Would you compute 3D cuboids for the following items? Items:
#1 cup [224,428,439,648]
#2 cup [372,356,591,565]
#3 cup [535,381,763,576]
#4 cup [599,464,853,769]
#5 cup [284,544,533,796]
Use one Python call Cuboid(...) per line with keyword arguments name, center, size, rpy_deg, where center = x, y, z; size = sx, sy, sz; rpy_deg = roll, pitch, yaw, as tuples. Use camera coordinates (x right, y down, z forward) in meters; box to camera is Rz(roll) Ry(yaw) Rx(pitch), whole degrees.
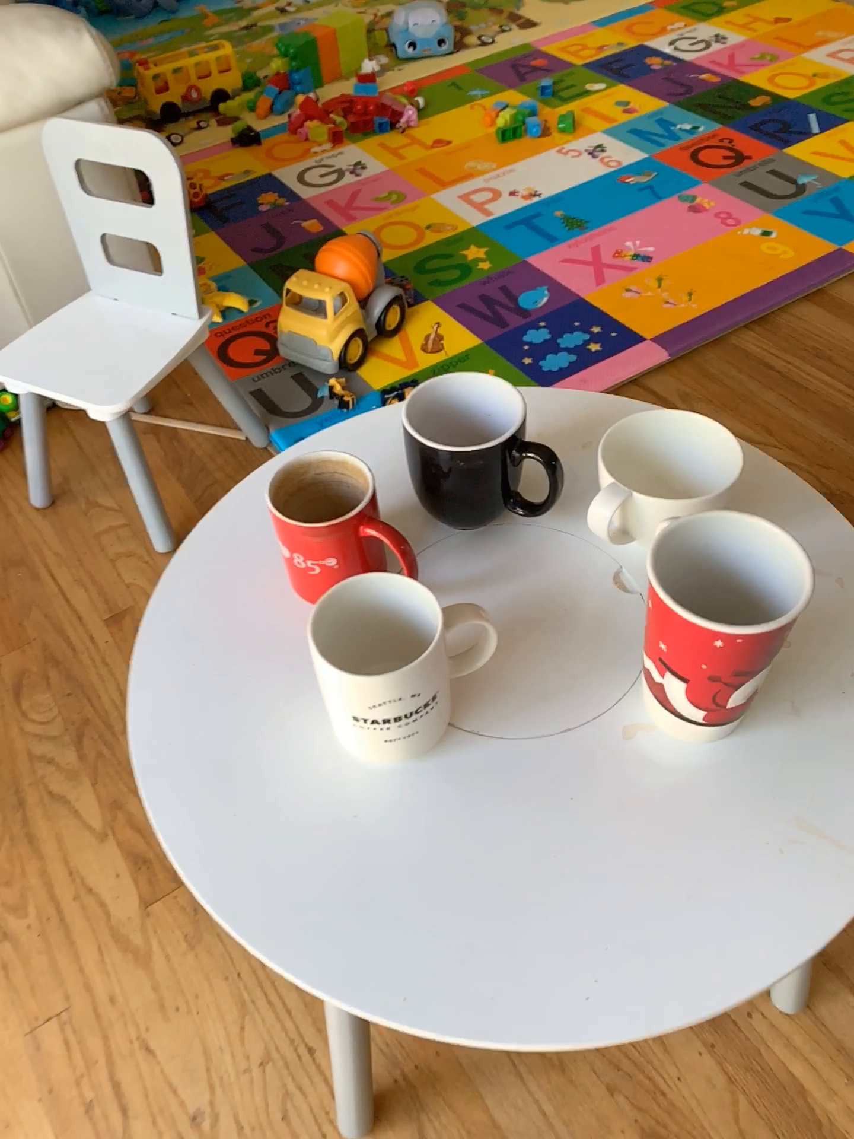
Cuboid(name="cup", center=(-0.065, -0.024, 0.632), size=(0.120, 0.090, 0.080), rpy_deg=(28, 57, 26))
Cuboid(name="cup", center=(0.041, -0.085, 0.663), size=(0.130, 0.080, 0.090), rpy_deg=(28, 57, 26))
Cuboid(name="cup", center=(0.154, -0.068, 0.614), size=(0.100, 0.040, 0.120), rpy_deg=(35, 61, 30))
Cuboid(name="cup", center=(0.183, 0.030, 0.552), size=(0.100, 0.120, 0.131), rpy_deg=(-11, 49, -4))
Cuboid(name="cup", center=(-0.011, 0.064, 0.554), size=(0.130, 0.100, 0.090), rpy_deg=(-13, 50, -6))
